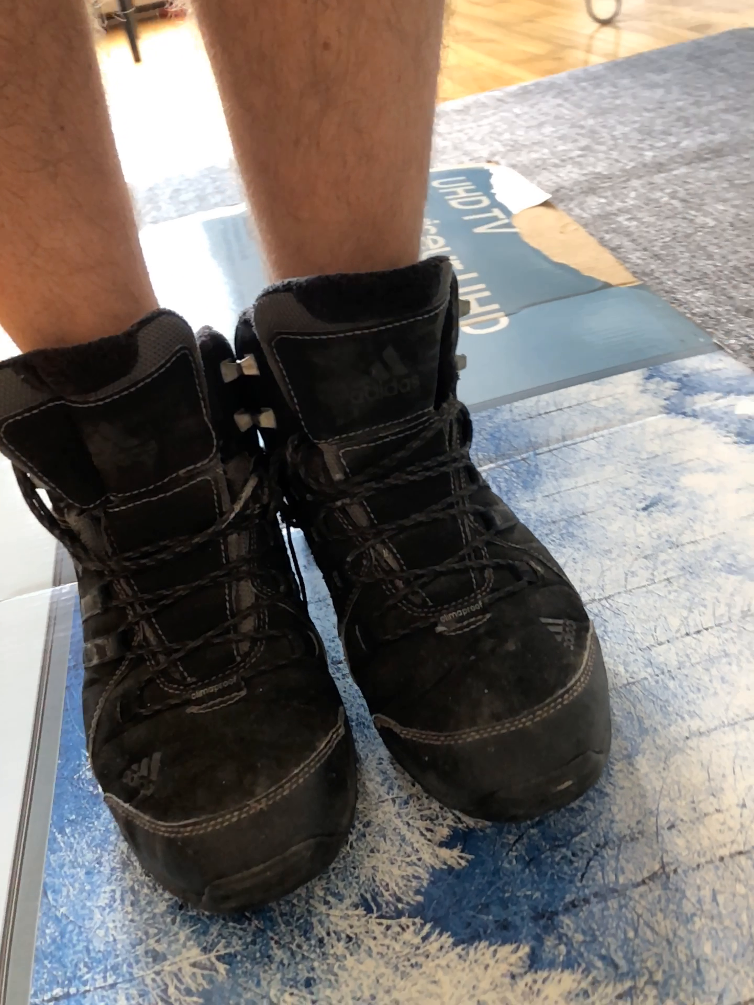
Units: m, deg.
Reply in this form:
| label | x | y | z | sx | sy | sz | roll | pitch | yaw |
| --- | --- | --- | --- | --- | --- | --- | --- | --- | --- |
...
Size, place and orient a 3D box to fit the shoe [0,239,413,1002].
| label | x | y | z | sx | sy | sz | roll | pitch | yaw |
| --- | --- | --- | --- | --- | --- | --- | --- | --- | --- |
| shoe | -0.102 | 0.021 | 0.367 | 0.110 | 0.169 | 0.282 | -21 | 39 | -12 |

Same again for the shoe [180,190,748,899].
| label | x | y | z | sx | sy | sz | roll | pitch | yaw |
| --- | --- | --- | --- | --- | --- | --- | --- | --- | --- |
| shoe | 0.016 | -0.009 | 0.381 | 0.110 | 0.169 | 0.282 | -21 | 39 | -12 |
